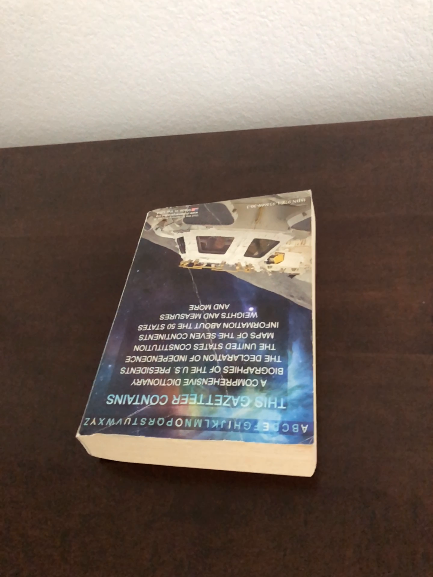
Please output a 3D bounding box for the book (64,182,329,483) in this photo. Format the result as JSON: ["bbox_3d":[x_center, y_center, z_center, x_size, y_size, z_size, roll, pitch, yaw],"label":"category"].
[{"bbox_3d":[0.001,0.018,0.320,0.140,0.040,0.196,-4,51,18],"label":"book"}]
